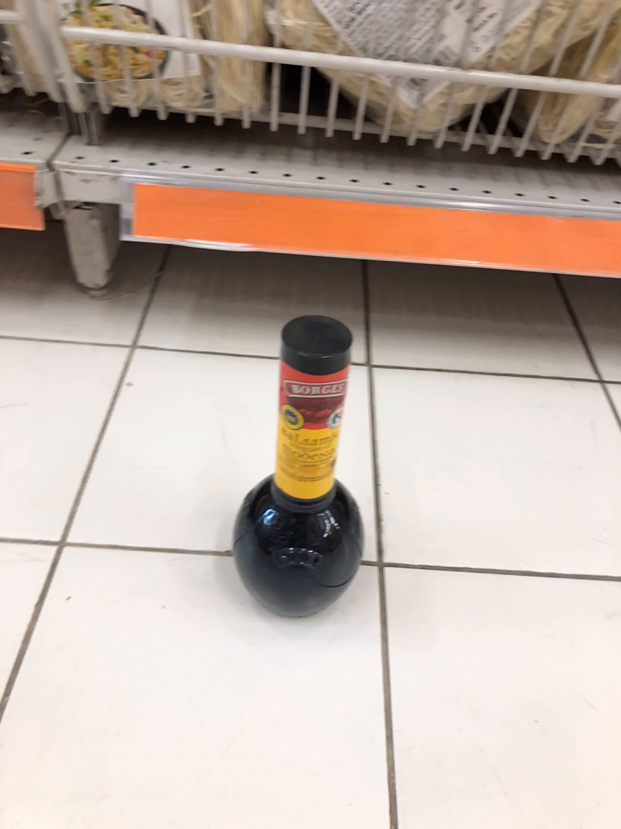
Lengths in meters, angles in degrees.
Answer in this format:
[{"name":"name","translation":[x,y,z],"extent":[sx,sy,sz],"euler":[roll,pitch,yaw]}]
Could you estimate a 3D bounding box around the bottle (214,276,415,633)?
[{"name":"bottle","translation":[-0.002,0.029,0.362],"extent":[0.080,0.179,0.081],"euler":[3,42,-2]}]
